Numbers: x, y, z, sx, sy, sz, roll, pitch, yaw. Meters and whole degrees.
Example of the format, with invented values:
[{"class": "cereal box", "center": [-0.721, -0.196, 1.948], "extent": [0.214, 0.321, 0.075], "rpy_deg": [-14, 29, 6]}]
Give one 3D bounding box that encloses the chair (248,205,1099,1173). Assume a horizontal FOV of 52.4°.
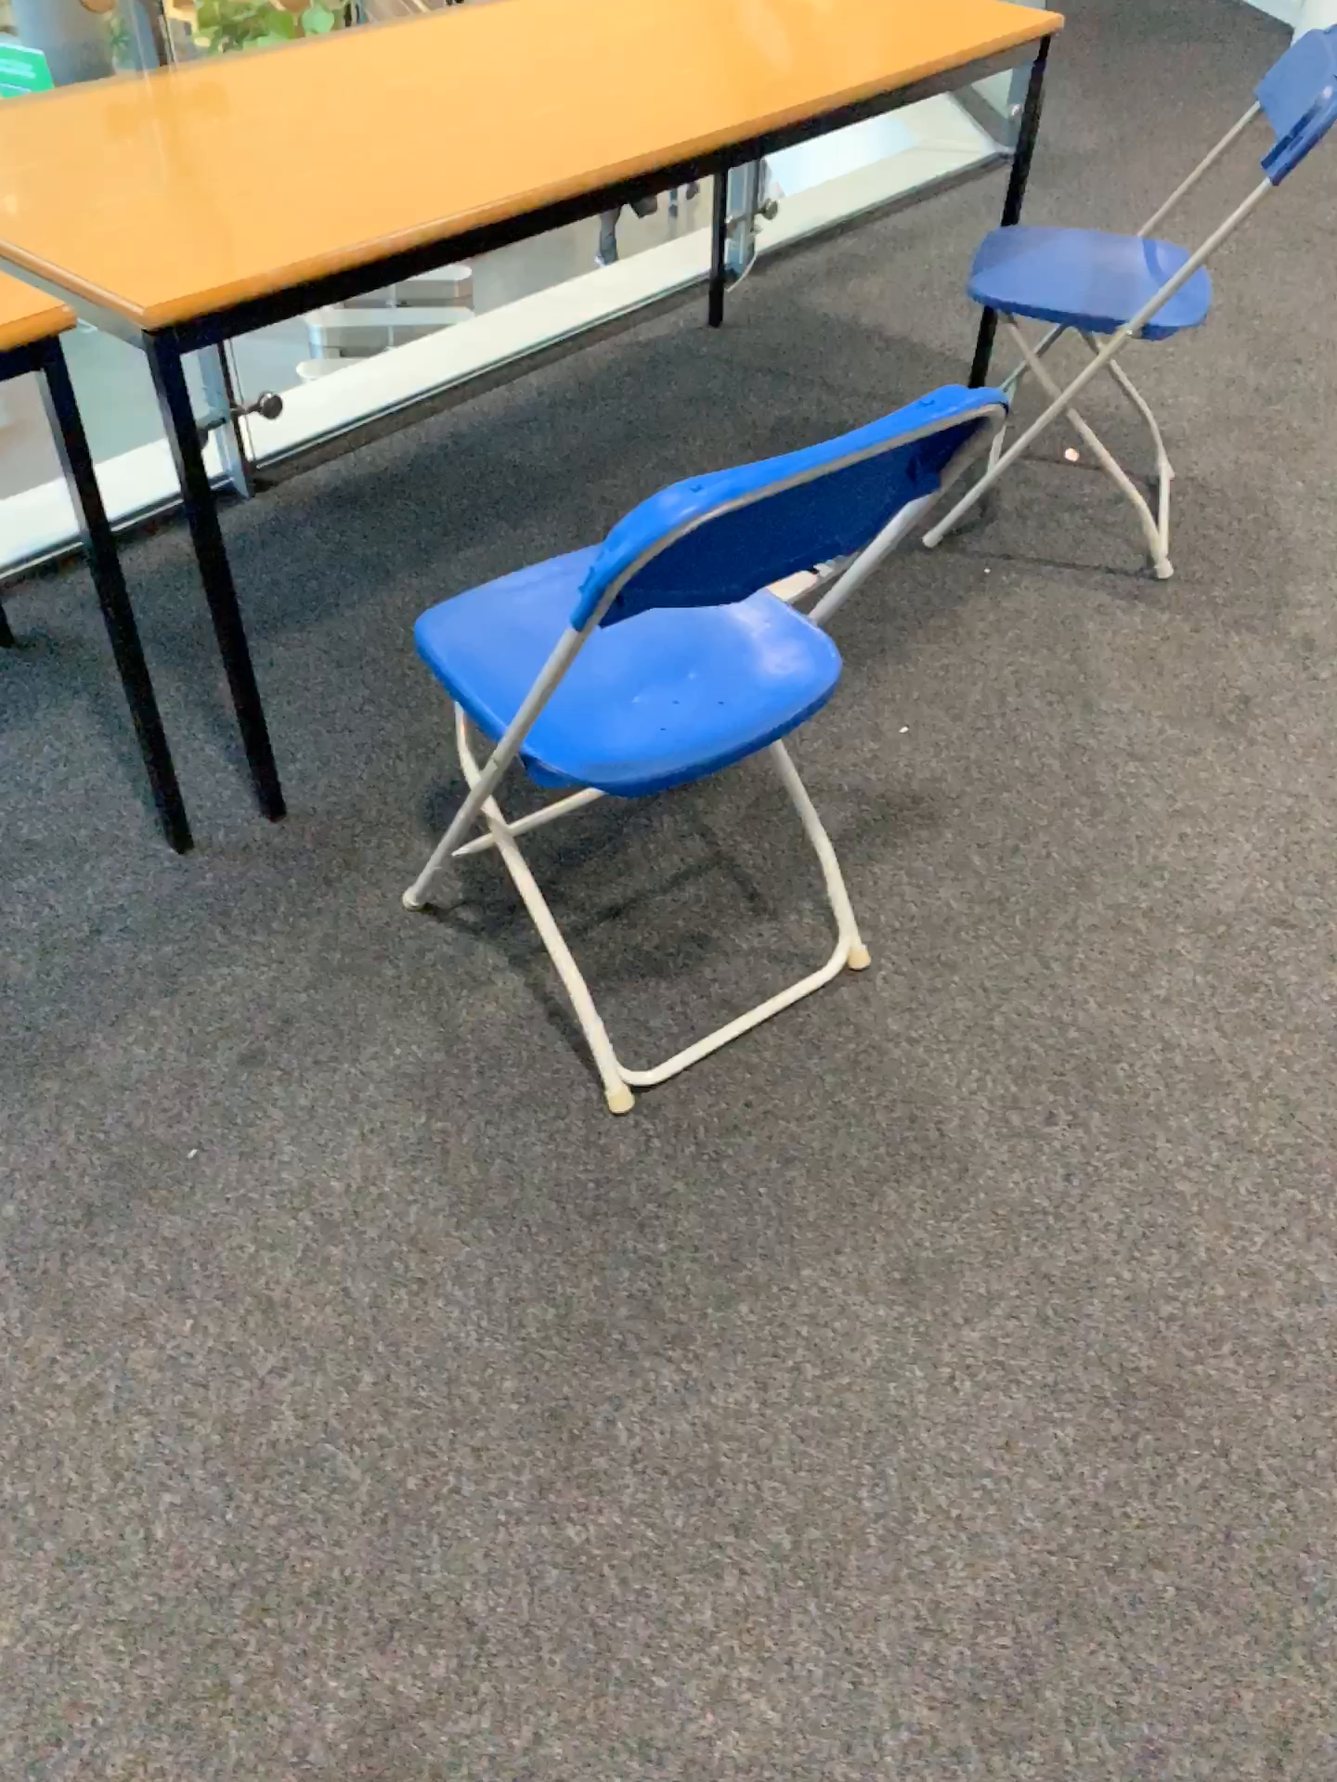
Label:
[{"class": "chair", "center": [-0.017, -0.227, 1.450], "extent": [0.532, 0.713, 0.554], "rpy_deg": [-27, 51, -27]}]
